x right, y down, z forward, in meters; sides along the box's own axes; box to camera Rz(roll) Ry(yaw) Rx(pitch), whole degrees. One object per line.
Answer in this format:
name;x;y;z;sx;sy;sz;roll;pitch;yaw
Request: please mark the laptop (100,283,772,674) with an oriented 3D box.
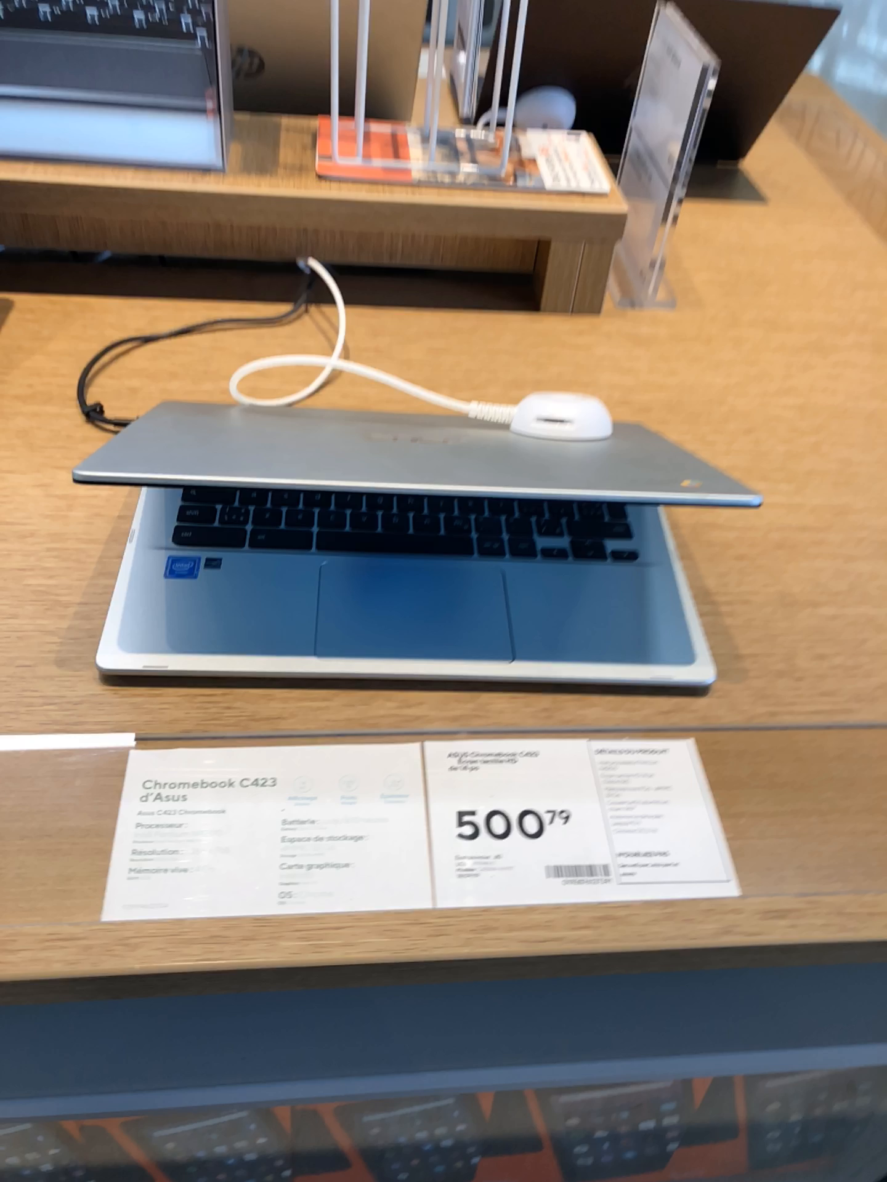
laptop;-0.004;-0.066;0.537;0.304;0.080;0.206;3;47;-7
